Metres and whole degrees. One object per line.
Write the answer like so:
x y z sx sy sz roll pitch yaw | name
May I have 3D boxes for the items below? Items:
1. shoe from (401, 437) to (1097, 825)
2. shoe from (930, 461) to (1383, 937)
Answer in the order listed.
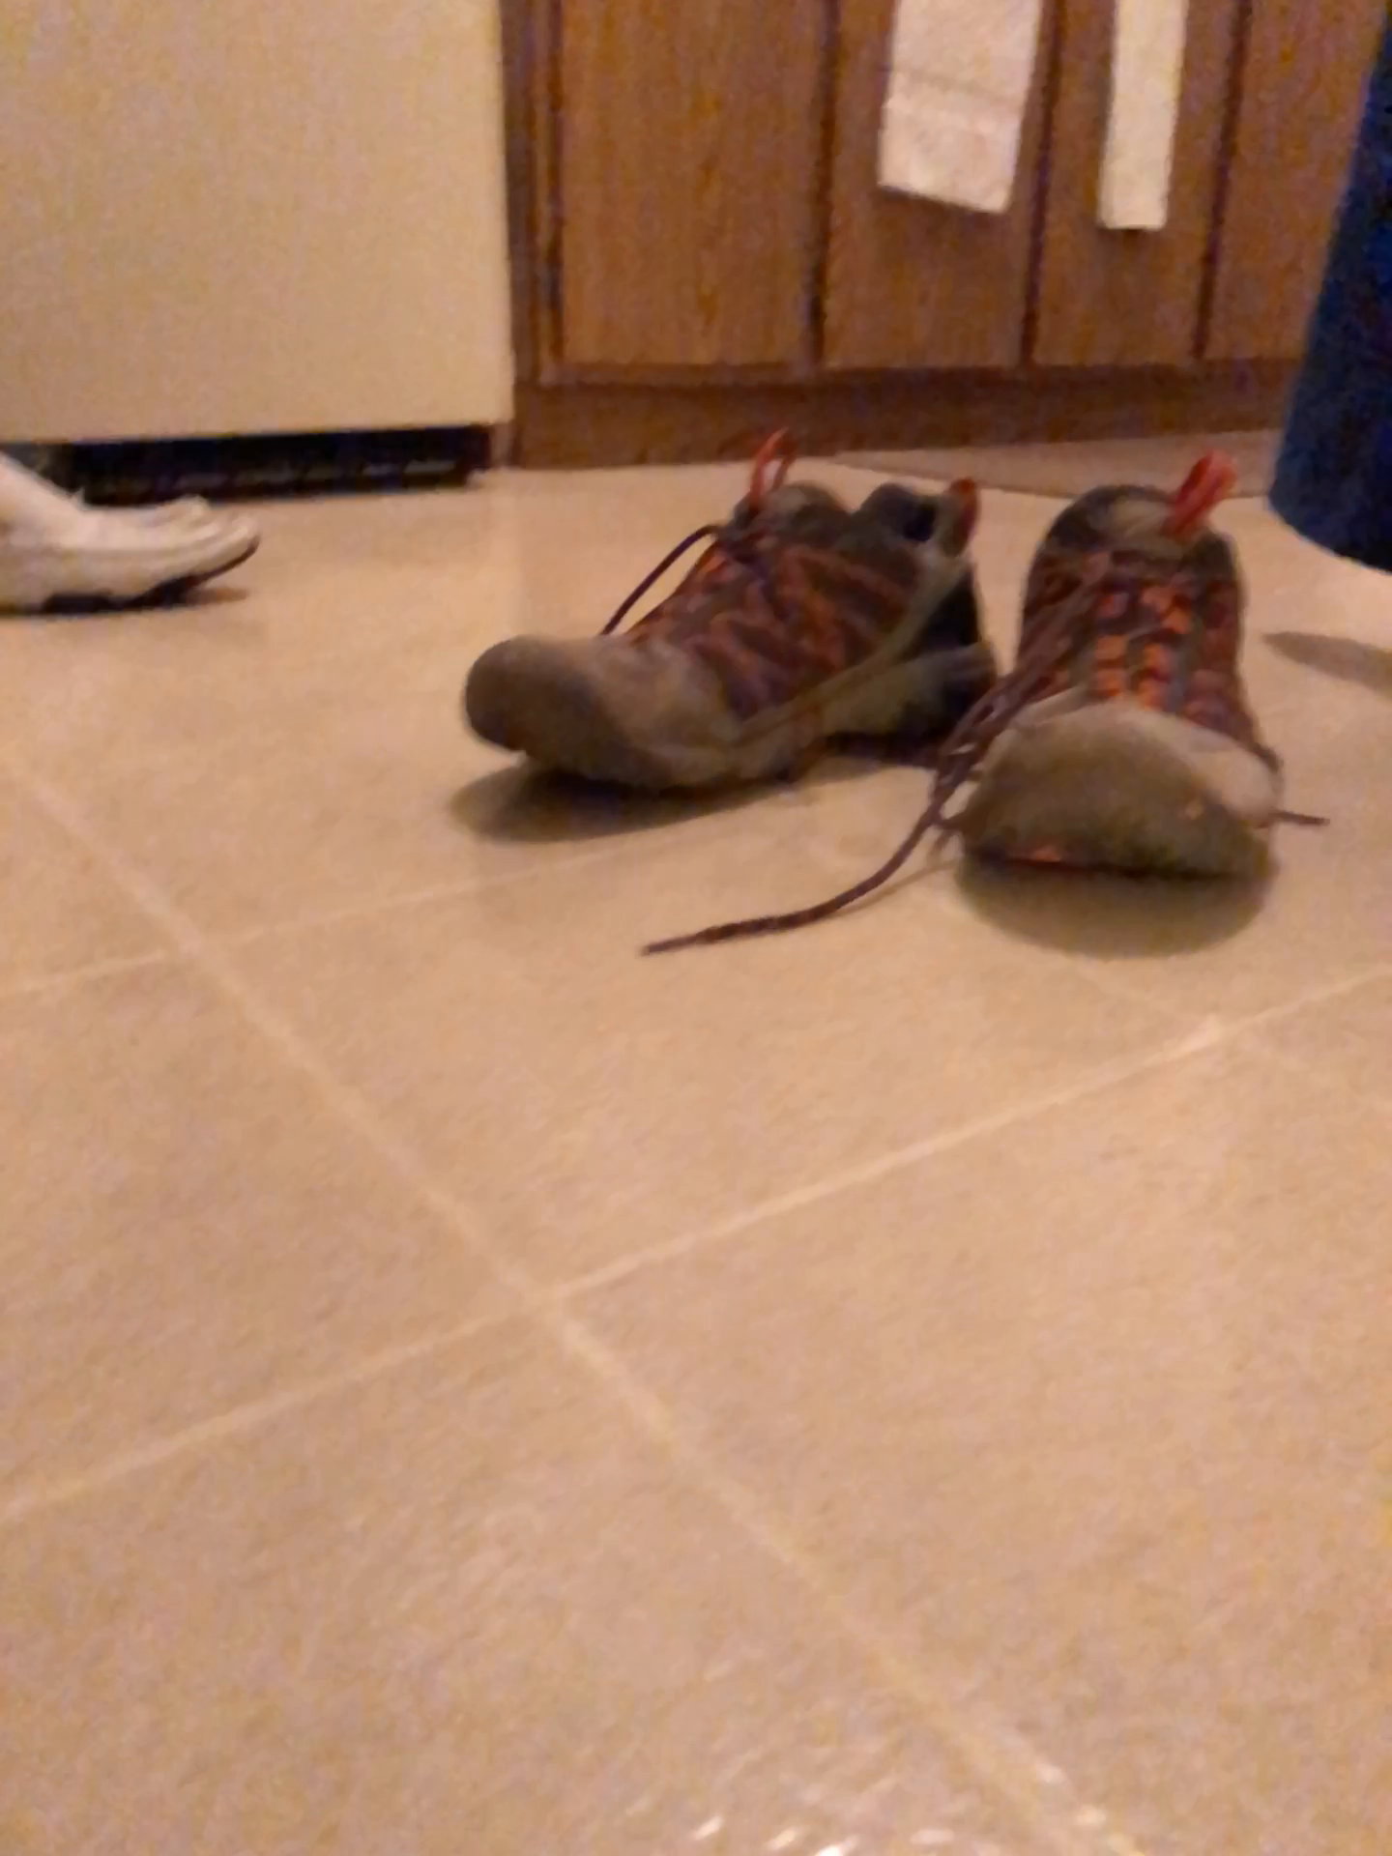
0.031 -0.148 0.695 0.293 0.121 0.127 -16 27 -35 | shoe
0.175 -0.112 0.622 0.127 0.121 0.283 5 23 12 | shoe
